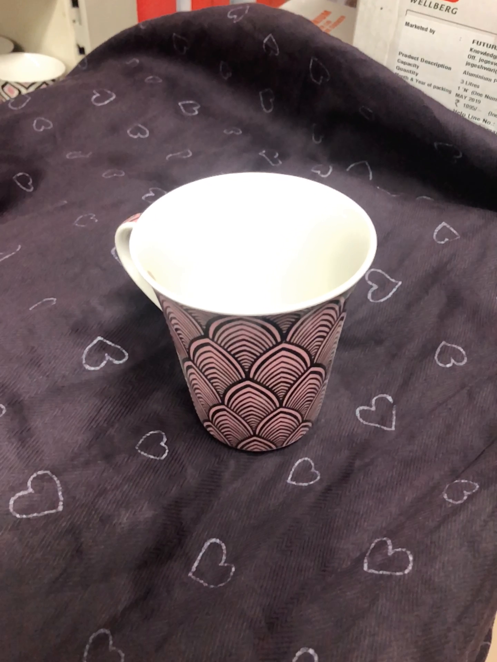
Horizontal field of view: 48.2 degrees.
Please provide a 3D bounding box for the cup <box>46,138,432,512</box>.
[{"bbox_3d":[-0.001,-0.009,0.249,0.120,0.099,0.090,23,49,24],"label":"cup"}]
